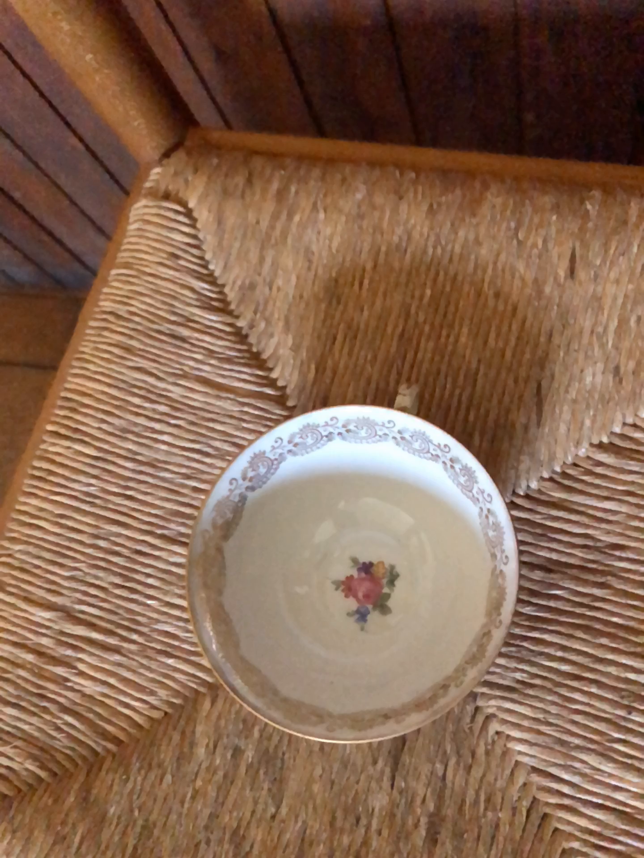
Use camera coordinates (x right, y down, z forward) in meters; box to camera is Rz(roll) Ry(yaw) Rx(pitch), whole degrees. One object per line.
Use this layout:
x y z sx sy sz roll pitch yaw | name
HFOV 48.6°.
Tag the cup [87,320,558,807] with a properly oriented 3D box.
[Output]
0.005 0.040 0.268 0.130 0.040 0.140 -6 66 13 | cup
